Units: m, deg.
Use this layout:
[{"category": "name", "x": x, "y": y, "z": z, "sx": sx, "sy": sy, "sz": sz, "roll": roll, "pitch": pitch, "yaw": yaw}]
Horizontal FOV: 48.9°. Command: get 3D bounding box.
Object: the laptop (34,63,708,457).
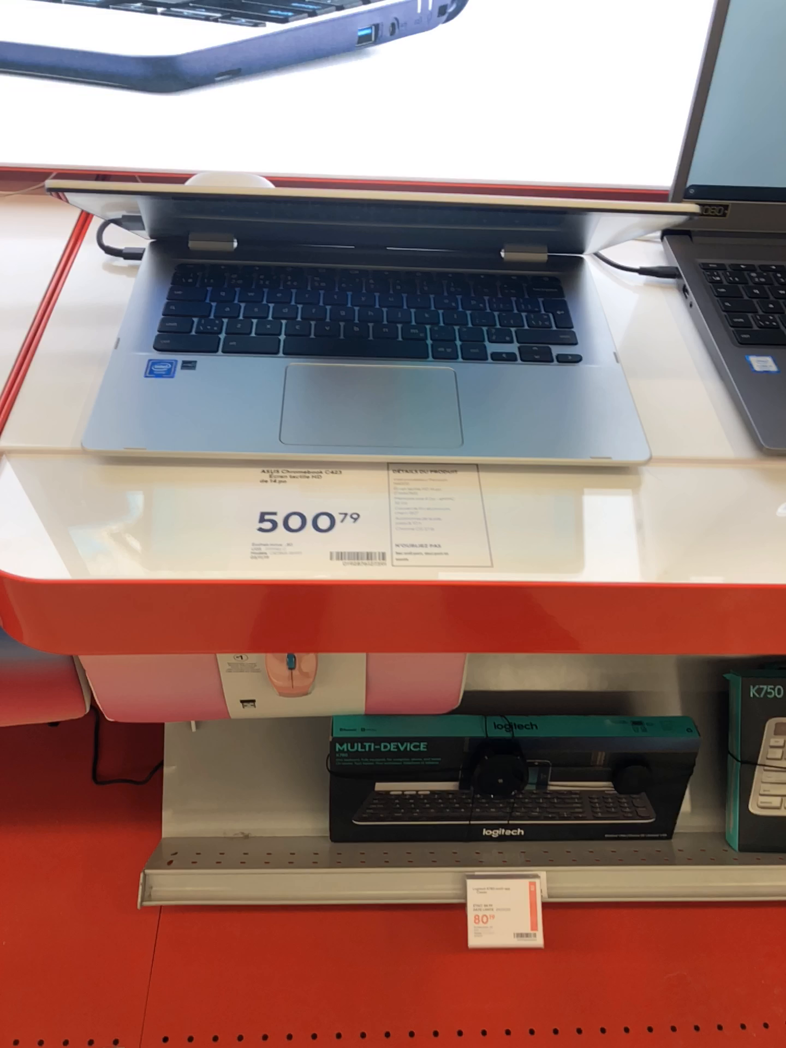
[{"category": "laptop", "x": -0.010, "y": -0.161, "z": 0.513, "sx": 0.311, "sy": 0.119, "sz": 0.214, "roll": 1, "pitch": 47, "yaw": -4}]
